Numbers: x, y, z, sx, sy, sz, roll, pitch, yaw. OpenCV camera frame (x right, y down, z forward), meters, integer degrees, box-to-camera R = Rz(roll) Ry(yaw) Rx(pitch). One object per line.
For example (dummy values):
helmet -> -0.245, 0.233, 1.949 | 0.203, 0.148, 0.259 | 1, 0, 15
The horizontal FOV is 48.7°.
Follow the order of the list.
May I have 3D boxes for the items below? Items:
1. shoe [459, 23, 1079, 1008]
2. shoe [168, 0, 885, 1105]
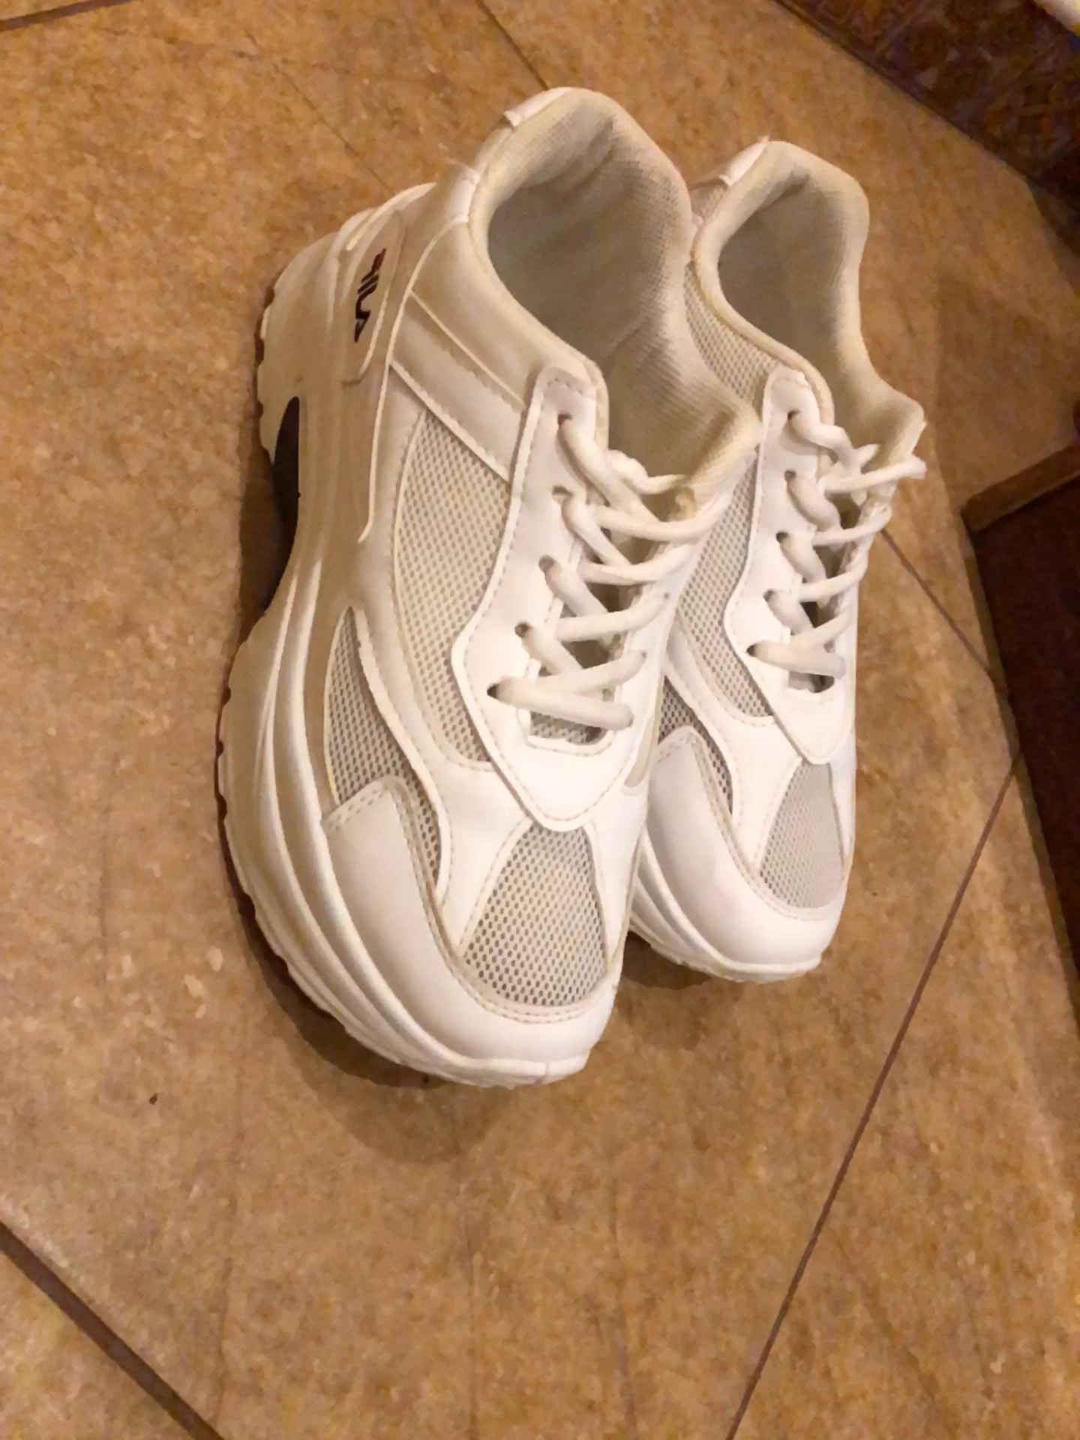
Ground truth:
shoe -> 0.063, -0.051, 0.360 | 0.110, 0.109, 0.250 | 8, 66, -36
shoe -> -0.017, -0.038, 0.296 | 0.110, 0.109, 0.240 | 9, 65, -35
